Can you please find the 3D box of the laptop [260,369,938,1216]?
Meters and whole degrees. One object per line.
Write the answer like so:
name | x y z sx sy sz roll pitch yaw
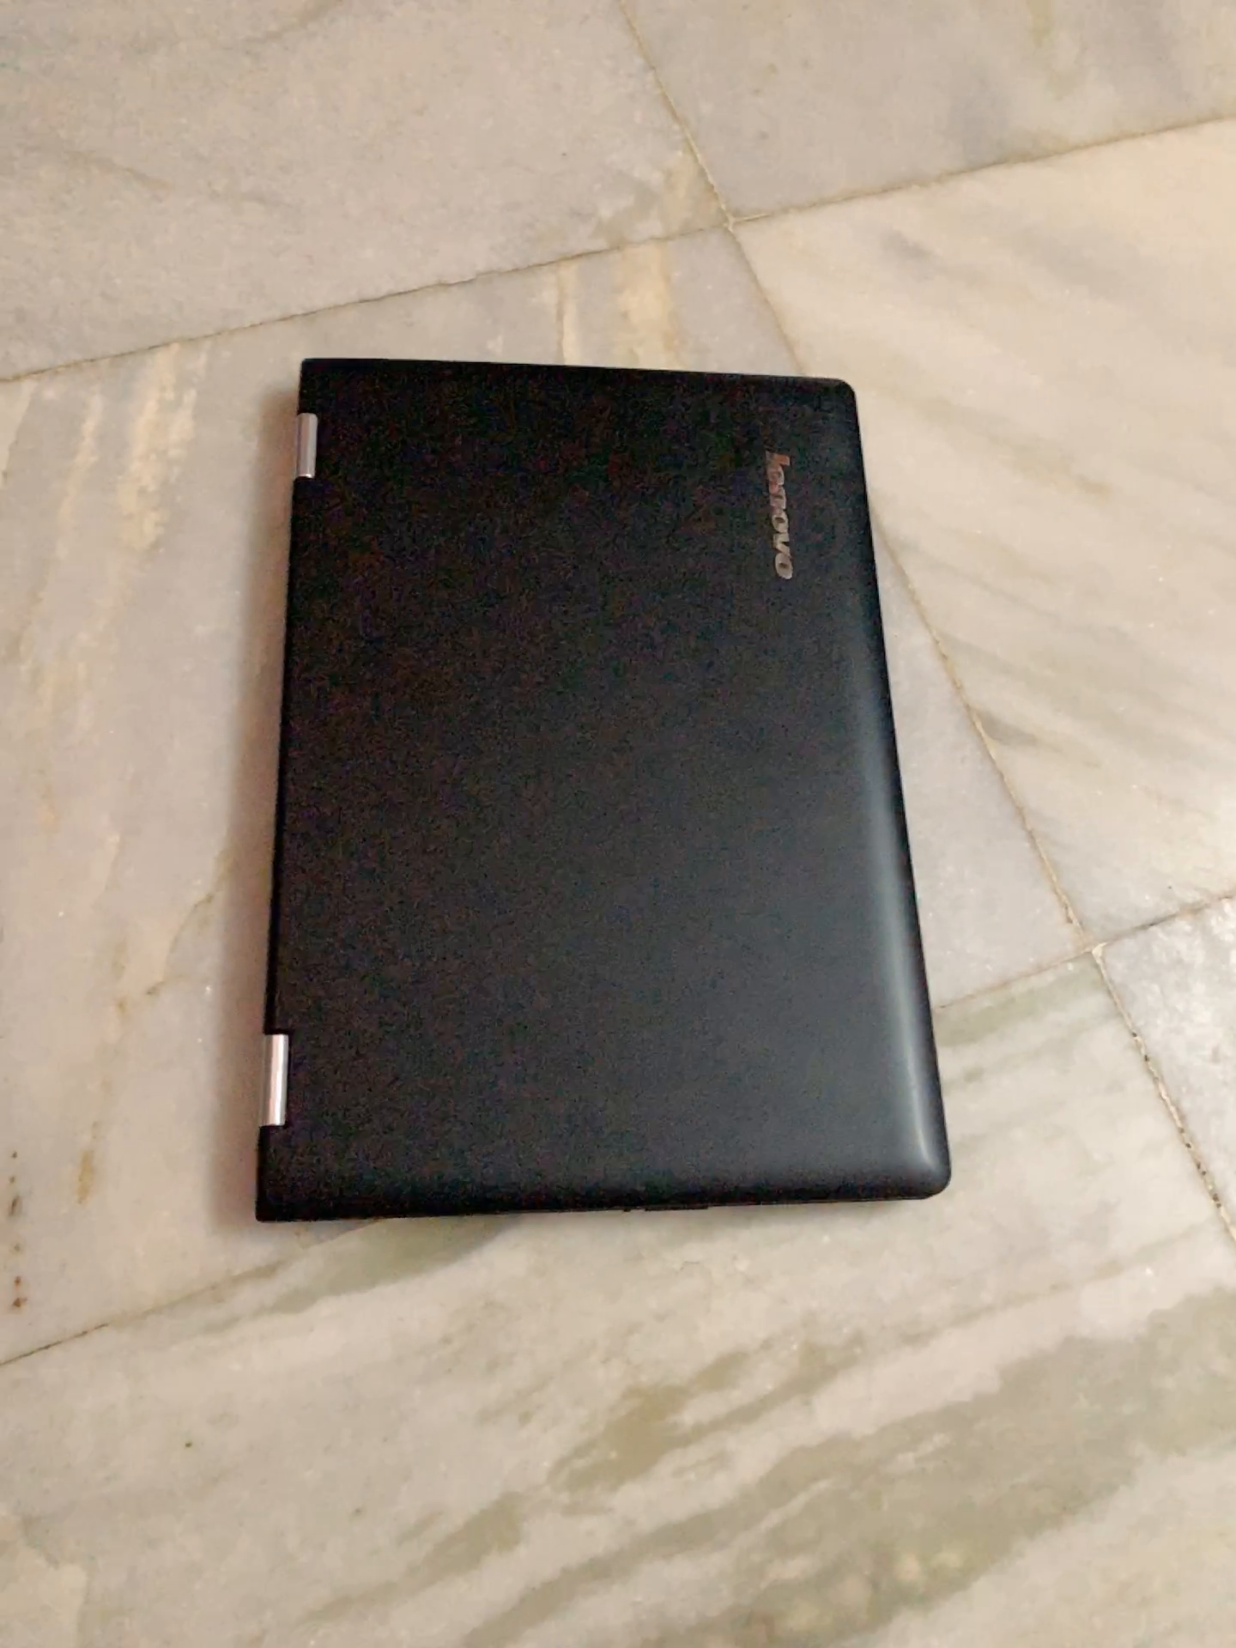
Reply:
laptop | -0.009 -0.030 0.468 0.223 0.001 0.325 0 71 -7
